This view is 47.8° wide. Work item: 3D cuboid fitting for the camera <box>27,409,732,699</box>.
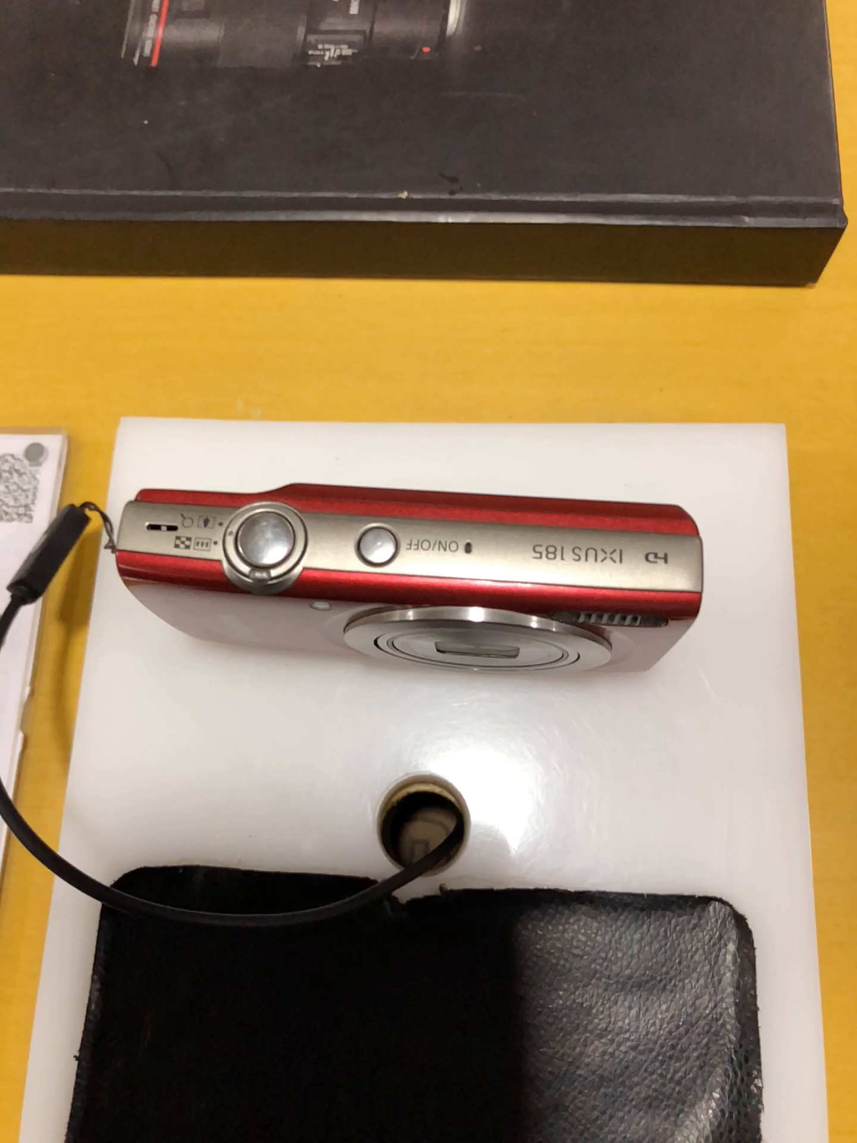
[{"bbox_3d":[-0.006,0.000,0.164,0.100,0.050,0.030,4,74,4],"label":"camera"}]
